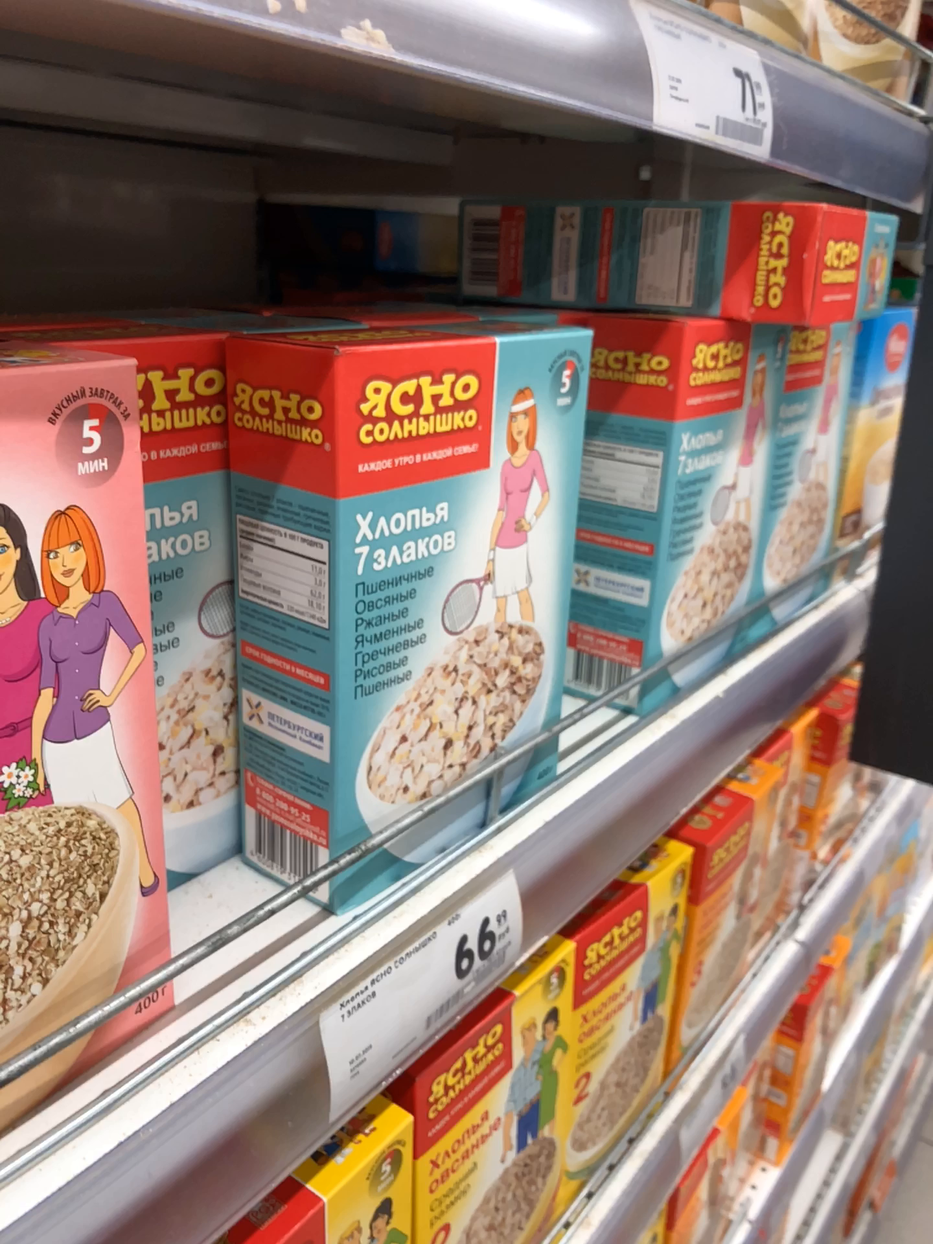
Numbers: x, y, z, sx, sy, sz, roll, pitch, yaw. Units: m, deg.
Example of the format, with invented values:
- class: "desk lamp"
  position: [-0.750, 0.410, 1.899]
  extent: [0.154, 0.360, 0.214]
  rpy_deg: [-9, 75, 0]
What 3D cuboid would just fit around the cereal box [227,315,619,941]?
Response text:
- class: "cereal box"
  position: [-0.011, -0.009, 0.375]
  extent: [0.050, 0.189, 0.140]
  rpy_deg: [17, 24, 35]
